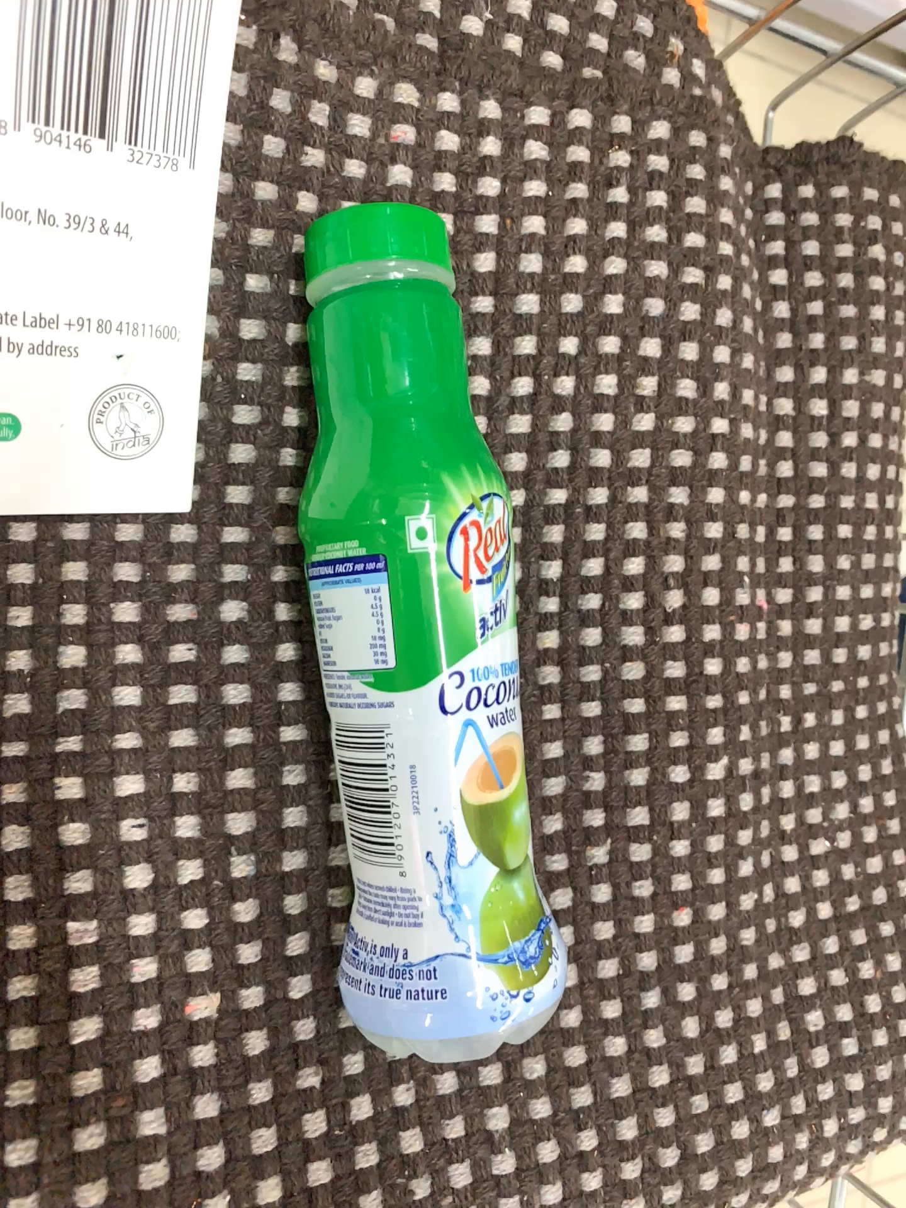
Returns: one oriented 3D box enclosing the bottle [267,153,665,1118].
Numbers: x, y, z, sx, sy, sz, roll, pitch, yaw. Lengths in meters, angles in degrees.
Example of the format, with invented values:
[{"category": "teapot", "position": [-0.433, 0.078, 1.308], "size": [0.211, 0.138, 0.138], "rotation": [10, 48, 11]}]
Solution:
[{"category": "bottle", "position": [0.006, 0.006, 0.196], "size": [0.060, 0.040, 0.170], "rotation": [-10, 101, -33]}]
